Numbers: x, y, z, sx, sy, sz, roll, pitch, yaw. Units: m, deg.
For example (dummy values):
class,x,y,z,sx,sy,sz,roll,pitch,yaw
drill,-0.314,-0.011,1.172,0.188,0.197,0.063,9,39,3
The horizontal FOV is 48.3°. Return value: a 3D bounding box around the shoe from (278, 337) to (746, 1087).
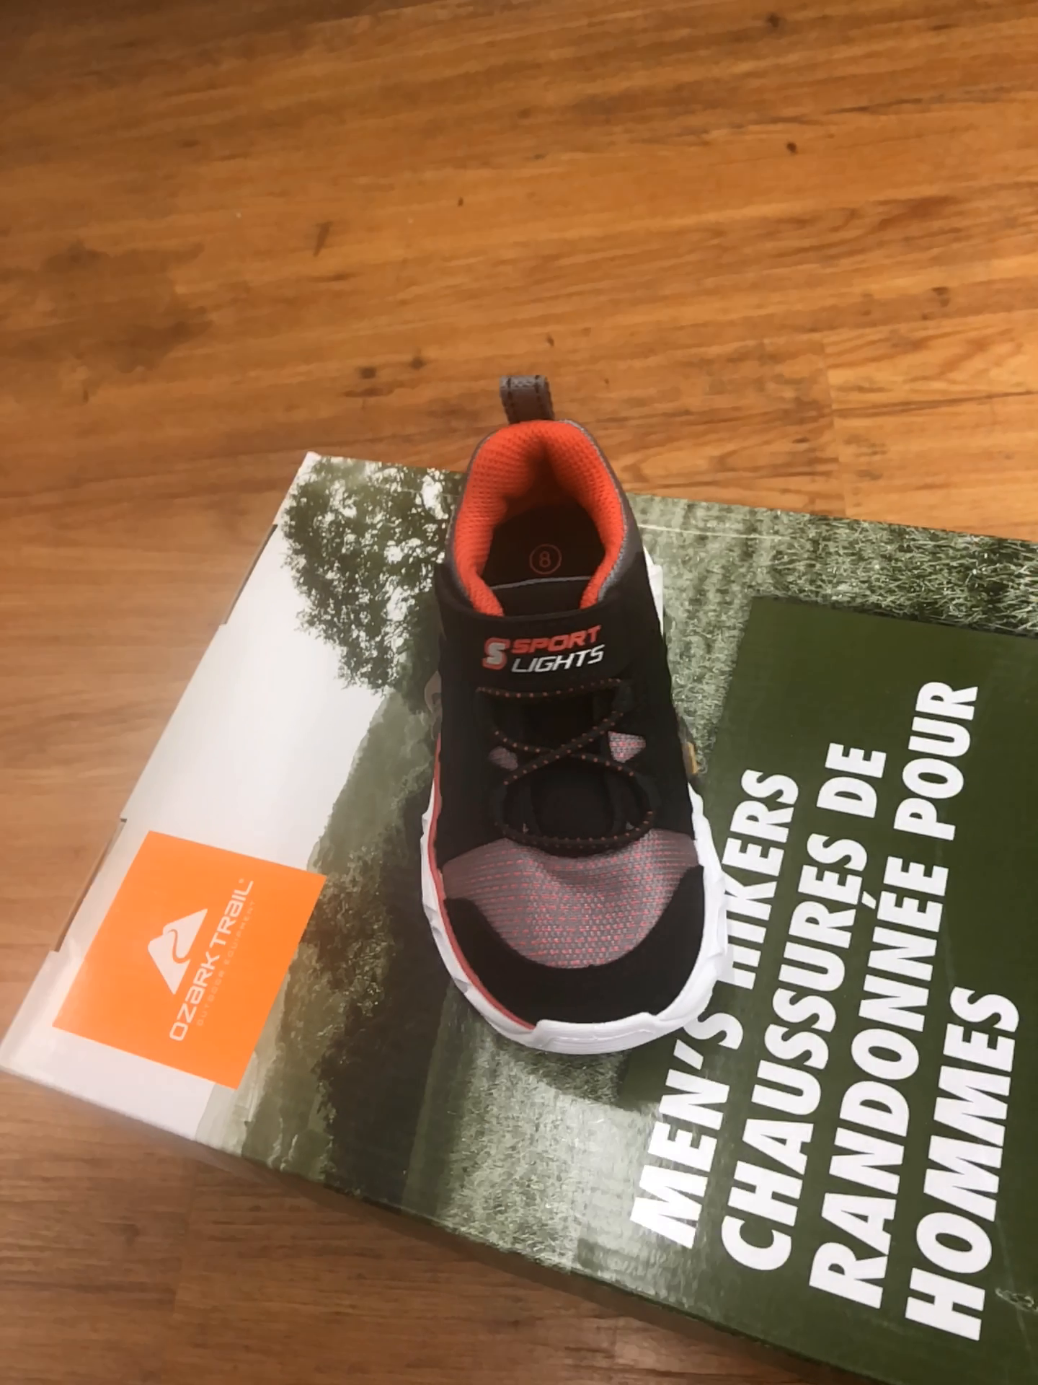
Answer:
class,x,y,z,sx,sy,sz,roll,pitch,yaw
shoe,0.005,0.005,0.308,0.090,0.090,0.170,-5,57,10
